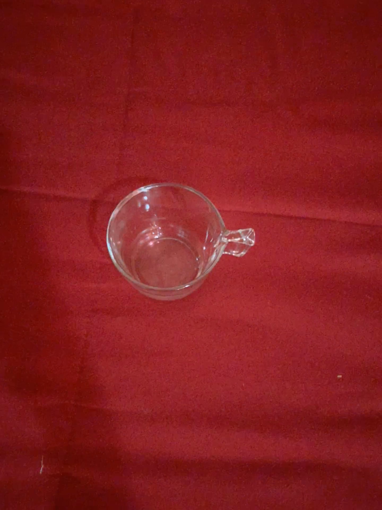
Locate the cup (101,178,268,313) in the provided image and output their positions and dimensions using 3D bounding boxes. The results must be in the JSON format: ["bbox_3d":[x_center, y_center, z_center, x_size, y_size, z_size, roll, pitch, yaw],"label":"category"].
[{"bbox_3d":[-0.005,-0.004,0.320,0.116,0.069,0.089,1,72,-1],"label":"cup"}]
